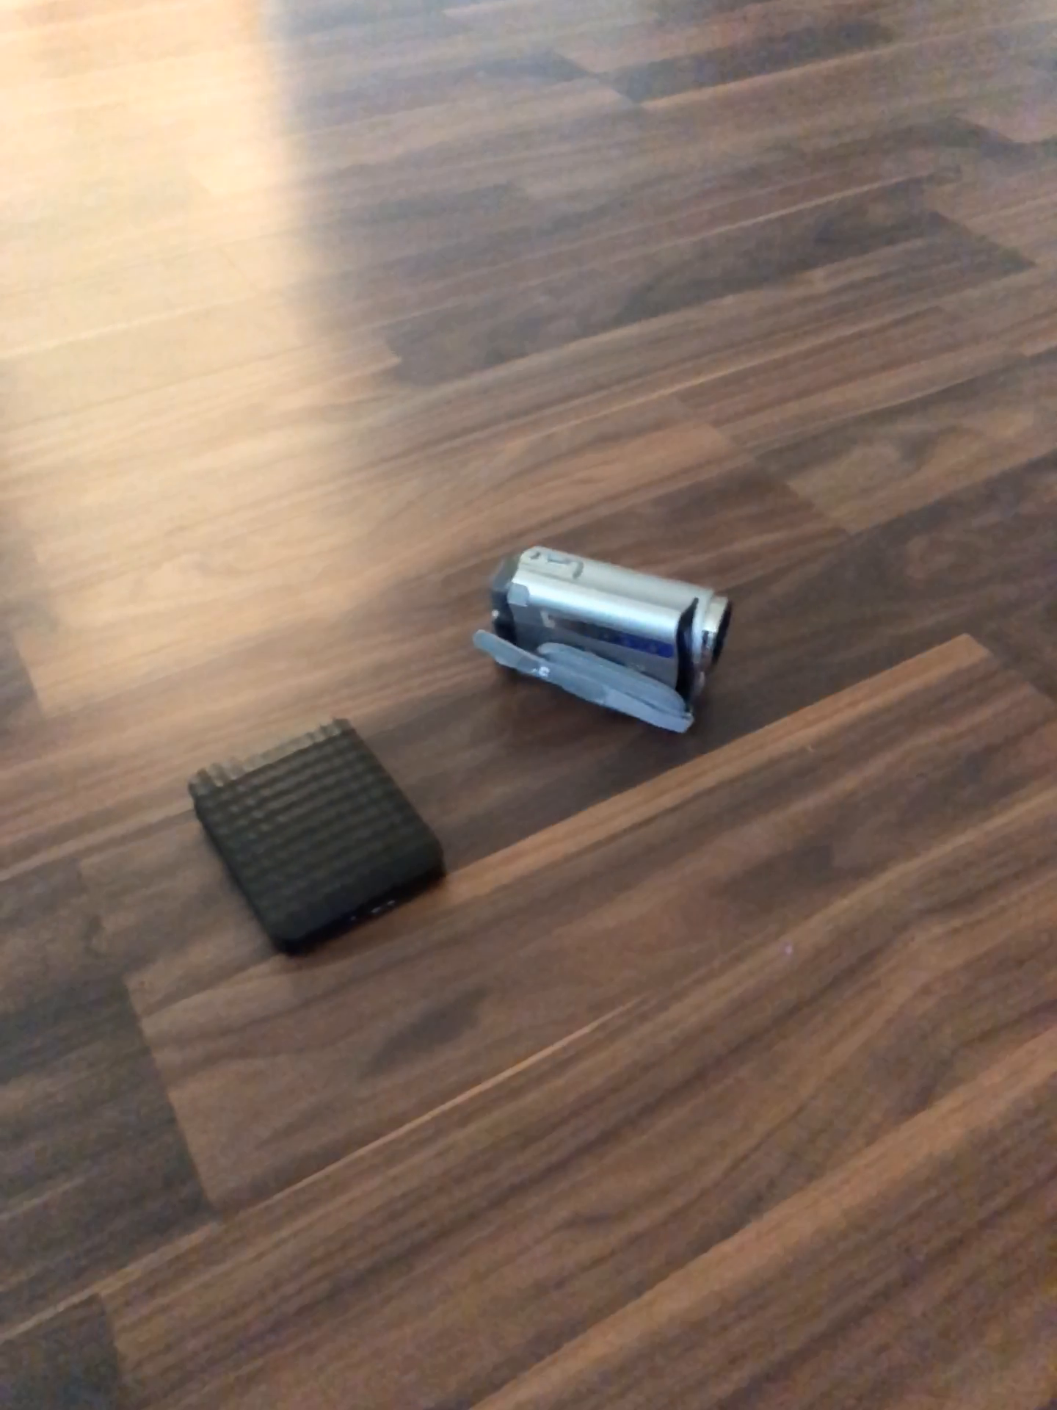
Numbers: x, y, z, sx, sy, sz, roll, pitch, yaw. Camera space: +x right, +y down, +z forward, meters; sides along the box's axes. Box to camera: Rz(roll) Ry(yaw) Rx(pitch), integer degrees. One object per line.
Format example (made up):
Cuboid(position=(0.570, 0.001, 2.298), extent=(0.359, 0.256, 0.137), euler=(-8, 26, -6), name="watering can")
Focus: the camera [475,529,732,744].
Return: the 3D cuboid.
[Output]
Cuboid(position=(0.036, -0.035, 0.588), extent=(0.115, 0.065, 0.048), euler=(17, 47, 17), name="camera")
